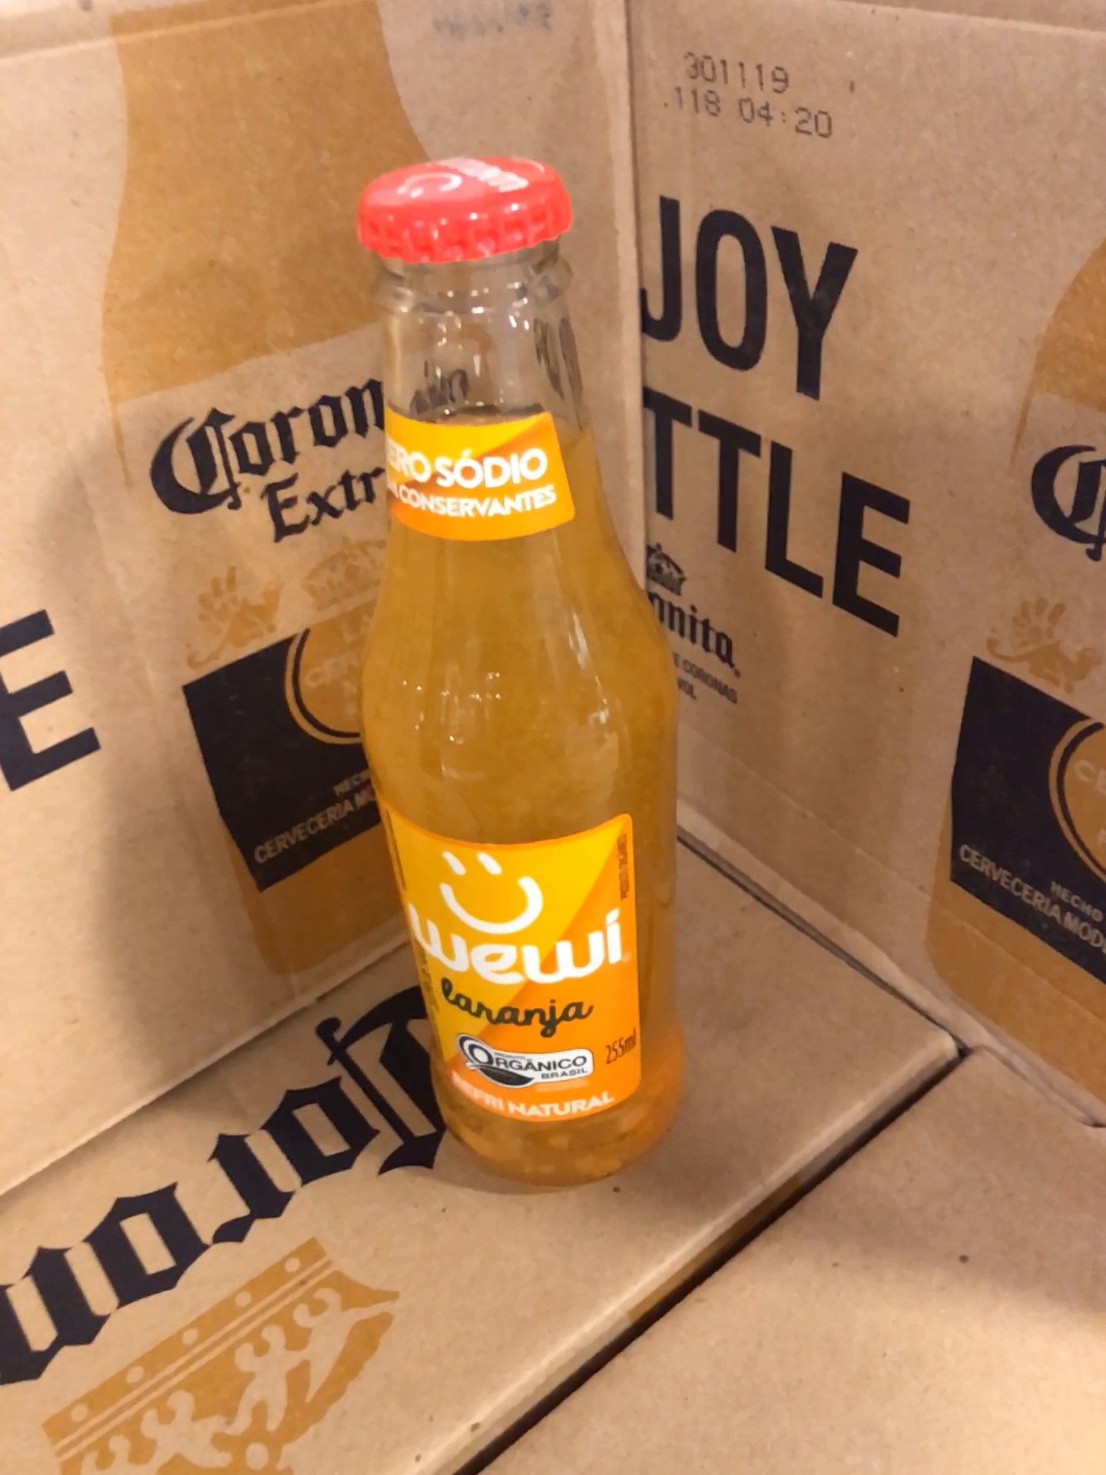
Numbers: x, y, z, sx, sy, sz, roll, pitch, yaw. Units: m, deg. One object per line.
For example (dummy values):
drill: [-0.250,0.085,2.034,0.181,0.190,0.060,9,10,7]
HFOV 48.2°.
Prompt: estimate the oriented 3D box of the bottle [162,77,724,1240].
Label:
bottle: [-0.005,0.002,0.227,0.060,0.208,0.060,-3,37,2]
